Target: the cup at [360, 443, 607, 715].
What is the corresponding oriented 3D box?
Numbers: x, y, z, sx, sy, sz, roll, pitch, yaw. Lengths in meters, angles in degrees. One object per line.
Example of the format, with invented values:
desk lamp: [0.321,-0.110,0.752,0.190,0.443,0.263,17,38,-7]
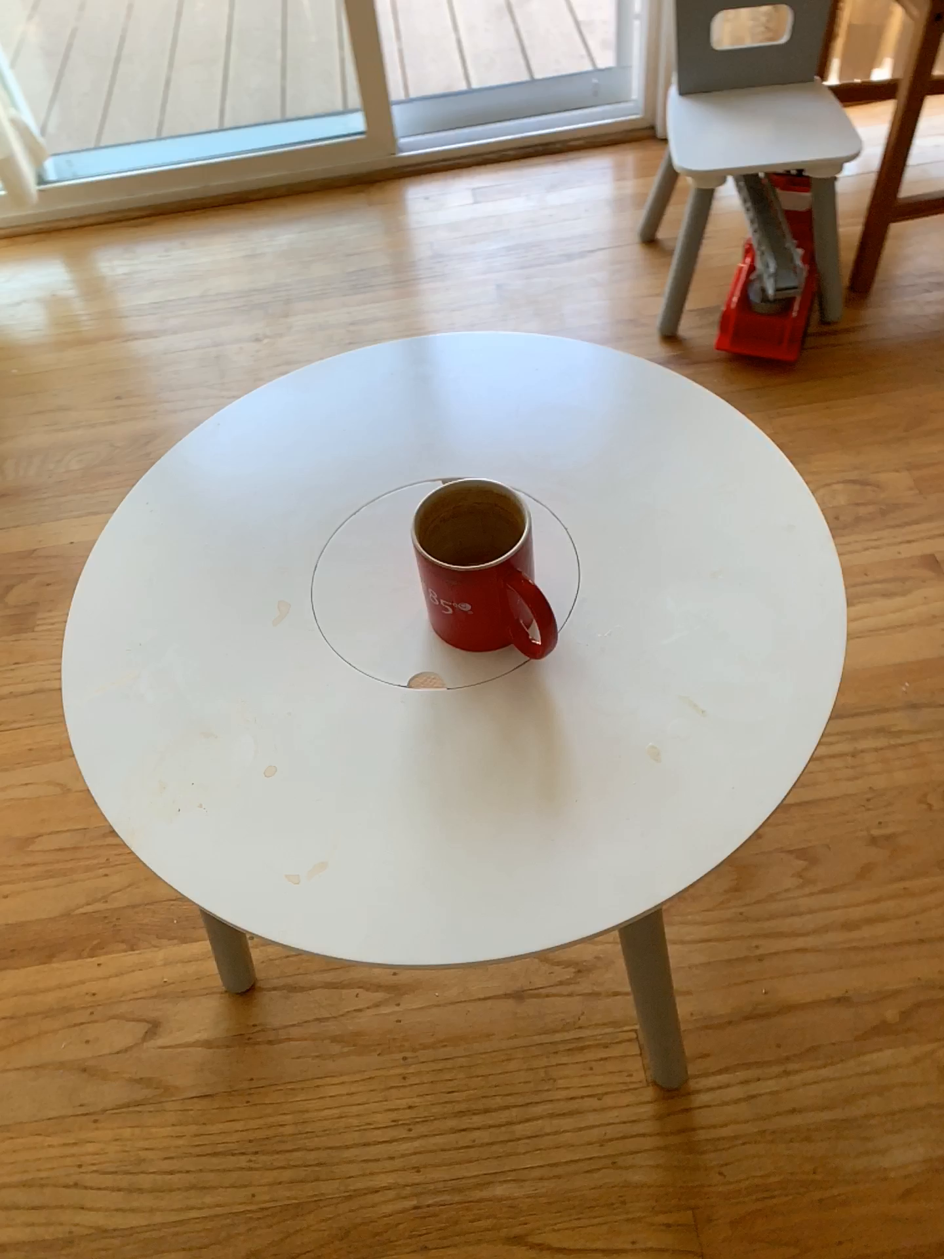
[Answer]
cup: [0.010,-0.038,0.694,0.090,0.100,0.151,-38,58,-19]
